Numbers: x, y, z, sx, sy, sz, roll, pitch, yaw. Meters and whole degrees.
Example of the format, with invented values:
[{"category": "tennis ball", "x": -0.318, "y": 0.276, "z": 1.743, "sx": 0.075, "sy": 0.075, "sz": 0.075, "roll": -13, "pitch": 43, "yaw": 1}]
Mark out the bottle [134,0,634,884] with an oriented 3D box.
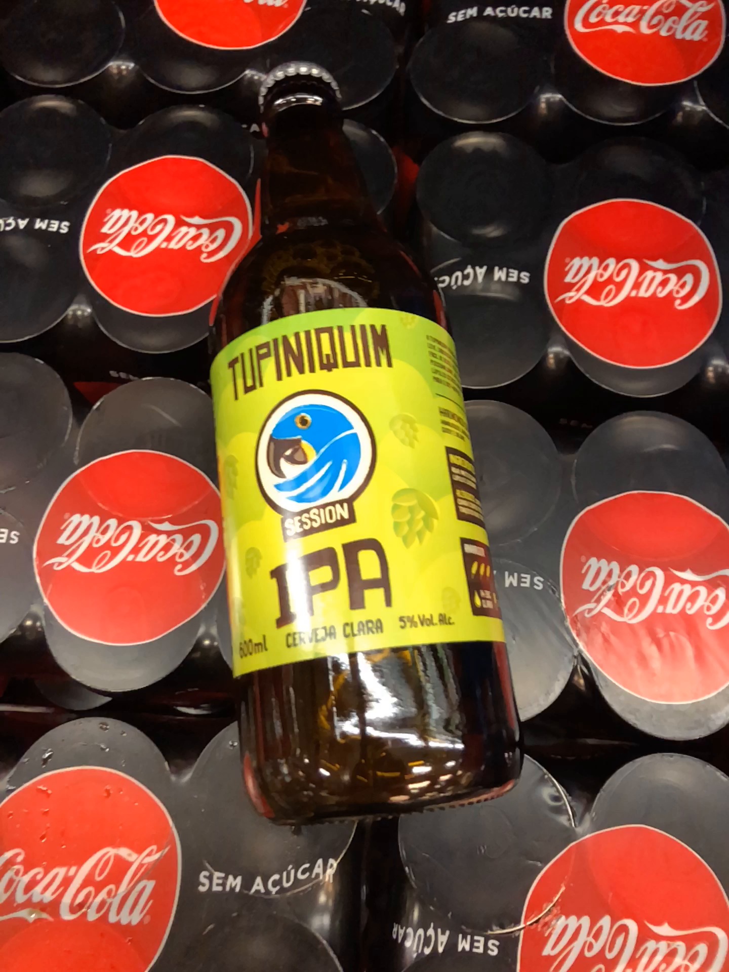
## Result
[{"category": "bottle", "x": -0.006, "y": -0.038, "z": 0.237, "sx": 0.090, "sy": 0.070, "sz": 0.261, "roll": -8, "pitch": 73, "yaw": -1}]
